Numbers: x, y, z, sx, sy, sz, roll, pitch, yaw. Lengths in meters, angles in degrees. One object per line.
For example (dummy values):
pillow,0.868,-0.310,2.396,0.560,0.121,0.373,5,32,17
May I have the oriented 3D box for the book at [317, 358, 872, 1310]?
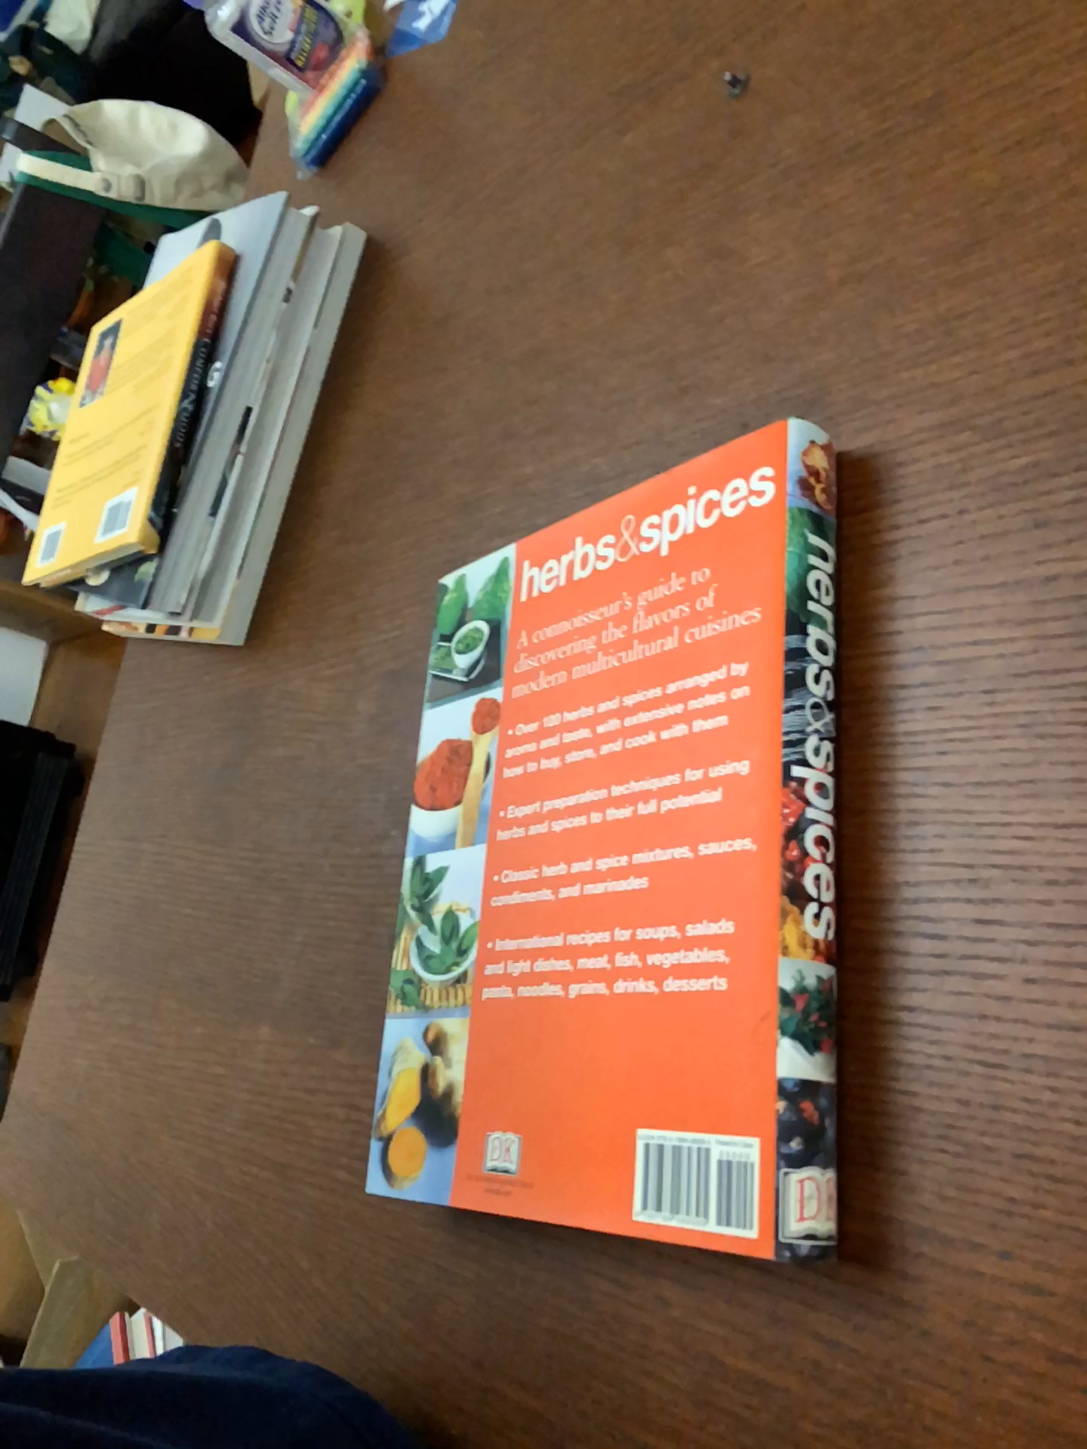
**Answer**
book,0.013,0.037,0.420,0.211,0.040,0.270,-15,63,47
